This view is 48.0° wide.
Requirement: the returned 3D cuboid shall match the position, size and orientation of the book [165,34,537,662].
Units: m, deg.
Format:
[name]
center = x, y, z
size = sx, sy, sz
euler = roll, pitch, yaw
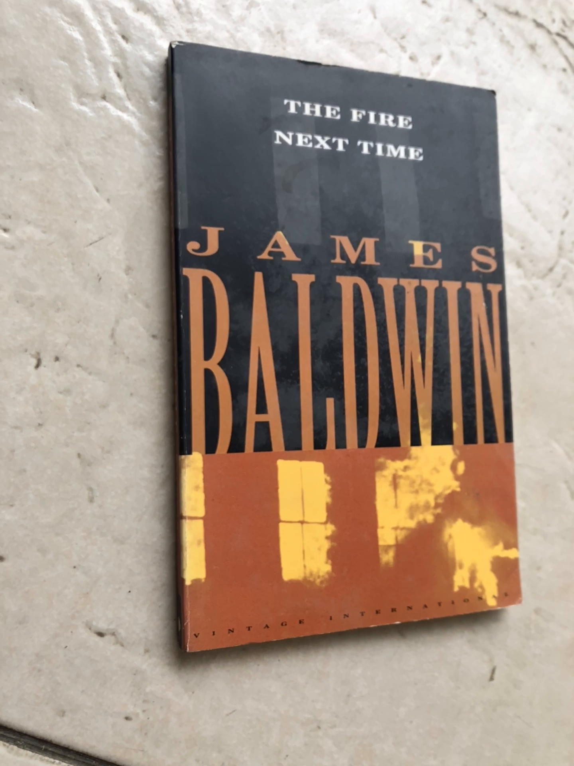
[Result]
[book]
center = 0.025, -0.015, 0.232
size = 0.130, 0.016, 0.200
euler = 0, 85, -19
